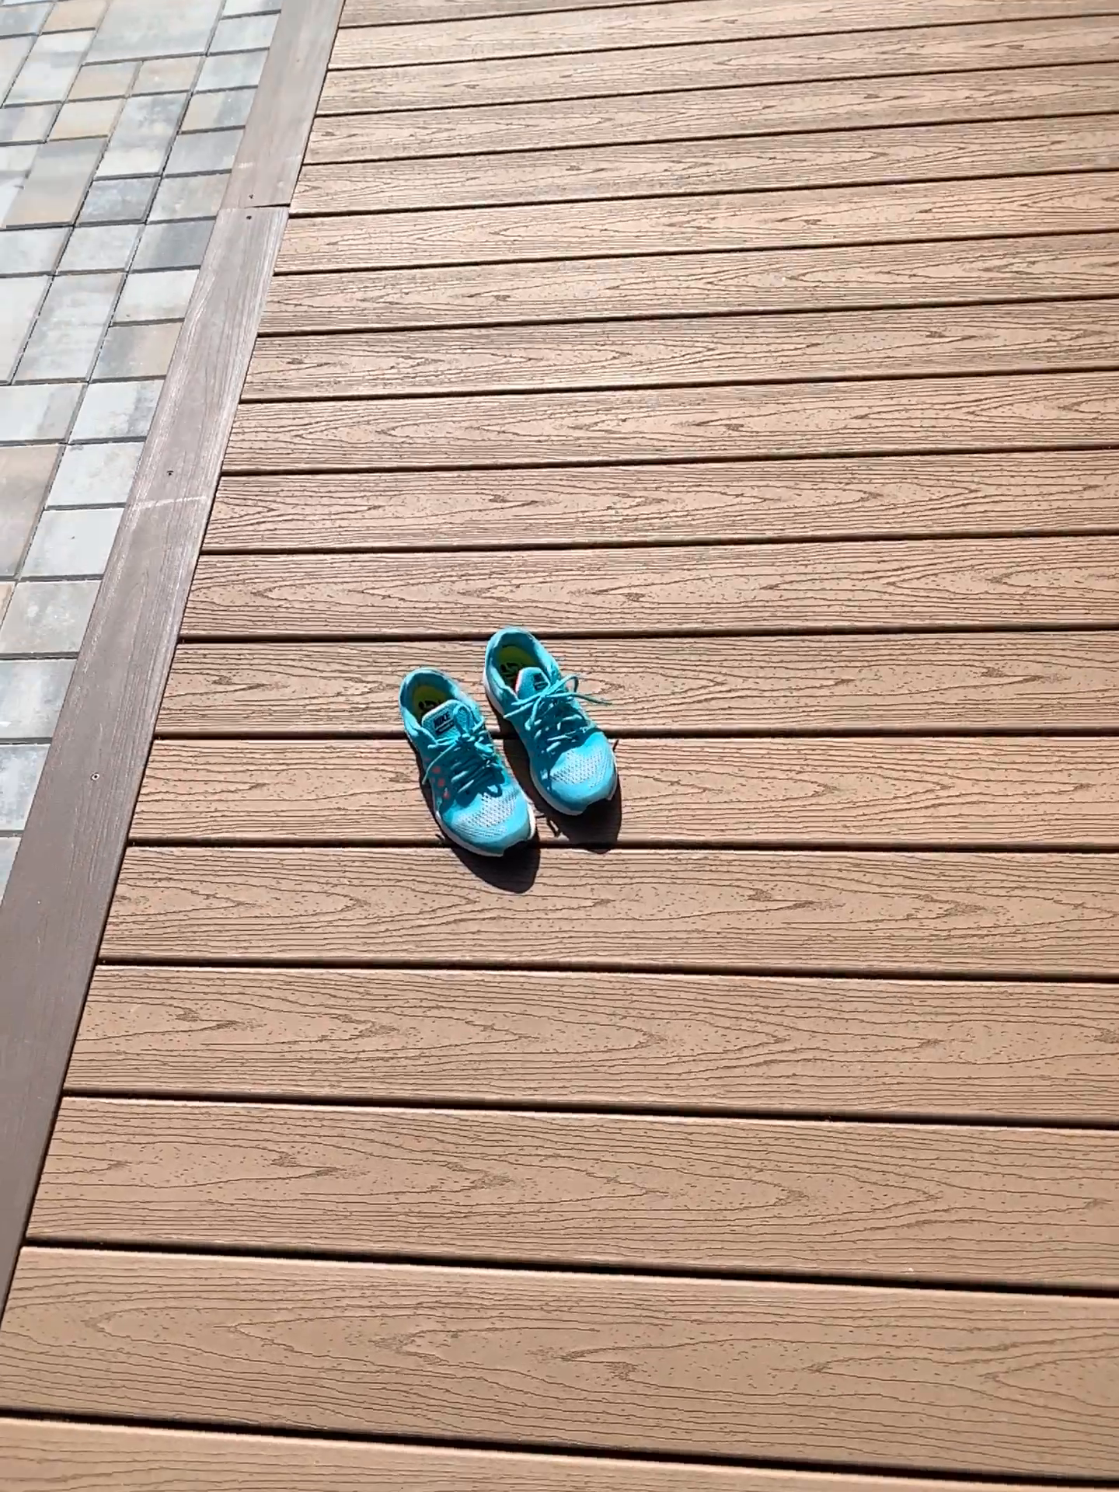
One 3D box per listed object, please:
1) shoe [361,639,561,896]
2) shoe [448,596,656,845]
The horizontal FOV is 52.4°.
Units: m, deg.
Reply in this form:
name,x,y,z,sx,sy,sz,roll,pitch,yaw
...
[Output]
name,x,y,z,sx,sy,sz,roll,pitch,yaw
shoe,-0.111,0.020,1.259,0.110,0.080,0.261,-27,60,-9
shoe,-0.010,-0.032,1.270,0.110,0.080,0.261,-29,61,-11
